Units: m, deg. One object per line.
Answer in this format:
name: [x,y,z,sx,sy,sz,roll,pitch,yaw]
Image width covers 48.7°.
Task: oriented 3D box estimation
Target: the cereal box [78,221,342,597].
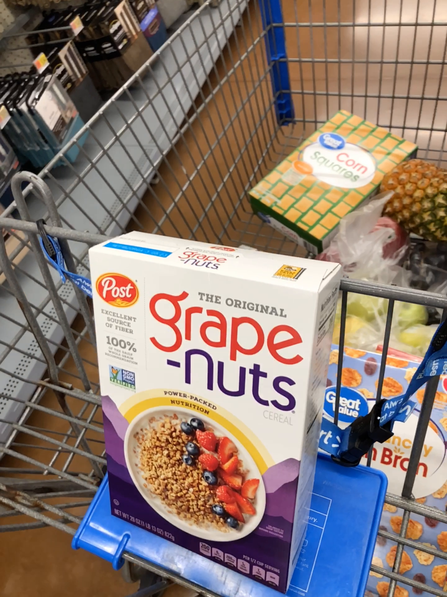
cereal box: [-0.017,0.080,0.372,0.170,0.250,0.050,12,24,23]
